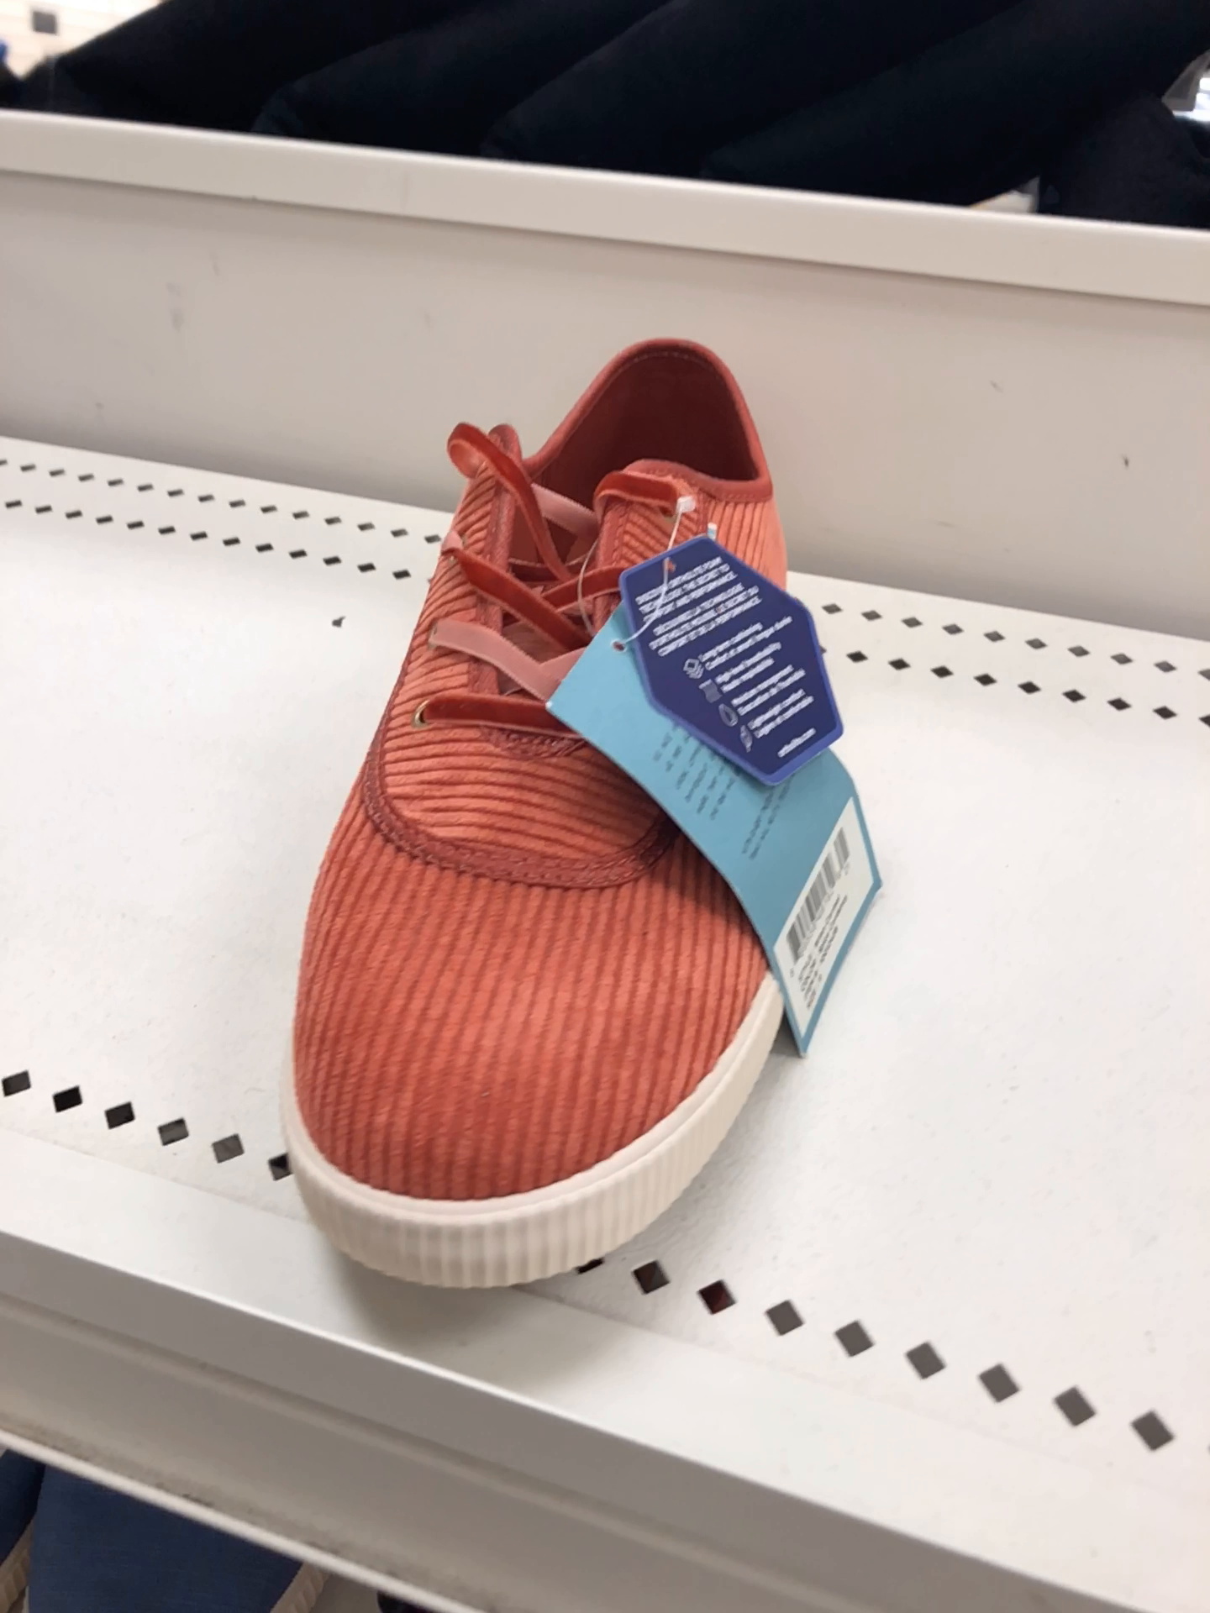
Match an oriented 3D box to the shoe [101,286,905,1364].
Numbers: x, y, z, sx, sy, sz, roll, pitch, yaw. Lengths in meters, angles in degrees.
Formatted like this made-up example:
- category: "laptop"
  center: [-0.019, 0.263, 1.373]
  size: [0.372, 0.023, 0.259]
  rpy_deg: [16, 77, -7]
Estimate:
- category: "shoe"
  center: [0.011, -0.041, 0.337]
  size: [0.100, 0.089, 0.323]
  rpy_deg: [9, 35, 9]
